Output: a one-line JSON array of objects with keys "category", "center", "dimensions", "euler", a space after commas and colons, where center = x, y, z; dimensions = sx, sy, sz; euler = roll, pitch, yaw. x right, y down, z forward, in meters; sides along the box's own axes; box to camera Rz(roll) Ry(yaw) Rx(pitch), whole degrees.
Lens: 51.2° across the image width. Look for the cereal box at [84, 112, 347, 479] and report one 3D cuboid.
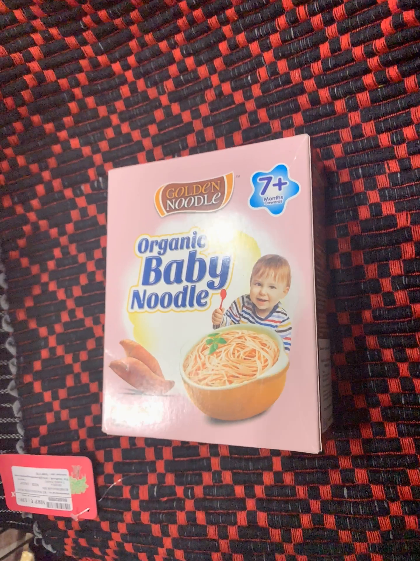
[{"category": "cereal box", "center": [0.000, 0.009, 0.240], "dimensions": [0.130, 0.050, 0.160], "euler": [-4, 84, 24]}]
